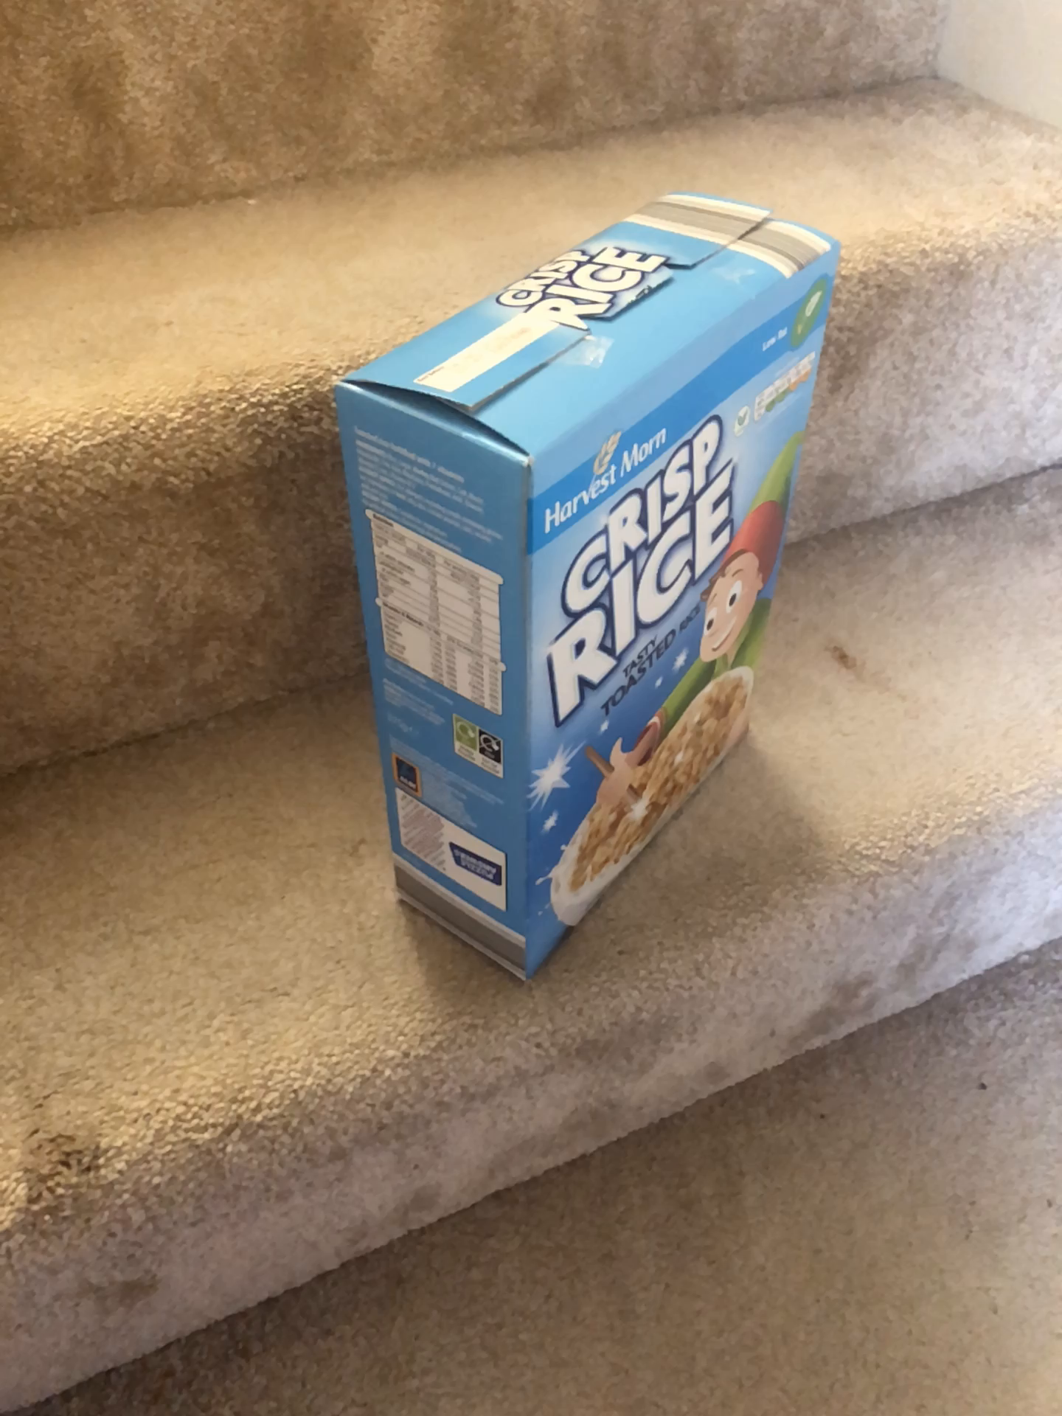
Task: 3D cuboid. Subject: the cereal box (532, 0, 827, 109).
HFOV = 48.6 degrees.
[{"bbox_3d":[0.459,-2.815,4.184,0.760,0.993,0.795,-8,44,-8],"label":"cereal box"}]
